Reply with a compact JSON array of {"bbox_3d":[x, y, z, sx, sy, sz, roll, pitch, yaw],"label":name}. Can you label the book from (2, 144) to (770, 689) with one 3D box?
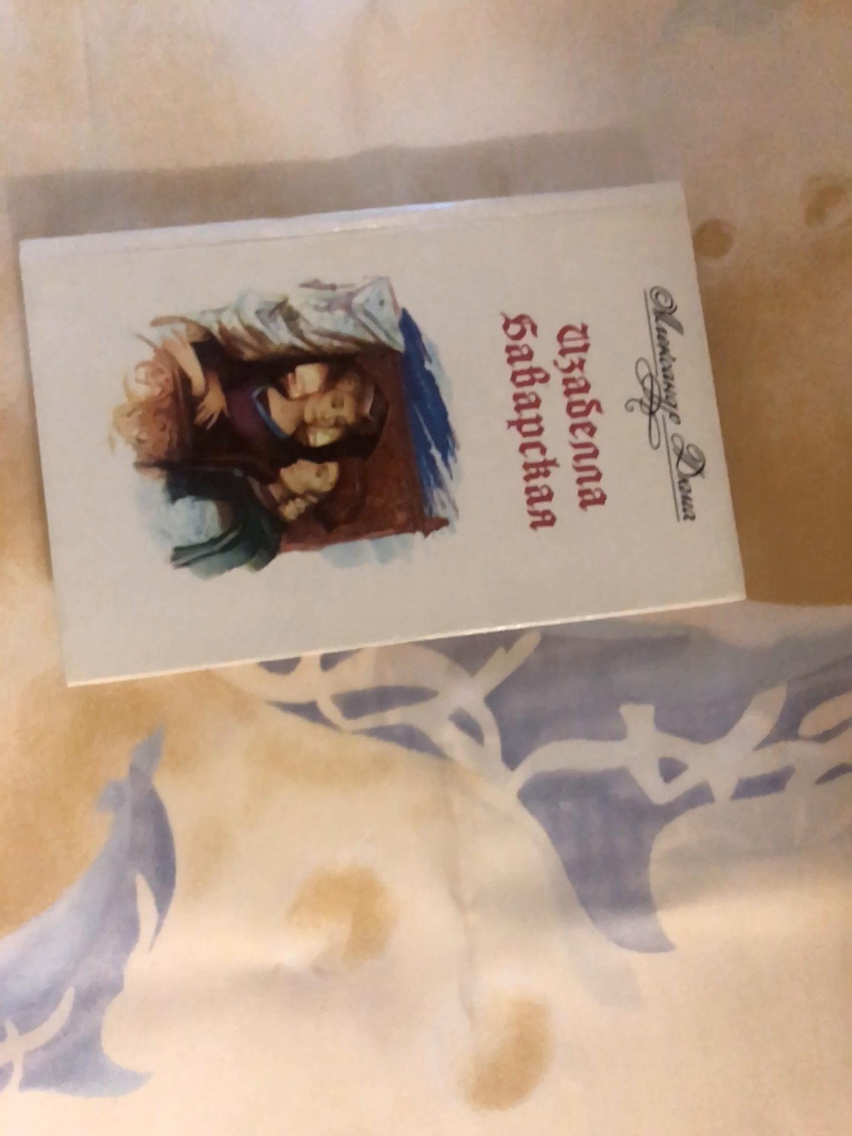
[{"bbox_3d":[-0.011,-0.048,0.291,0.208,0.026,0.139,-7,86,-5],"label":"book"}]
